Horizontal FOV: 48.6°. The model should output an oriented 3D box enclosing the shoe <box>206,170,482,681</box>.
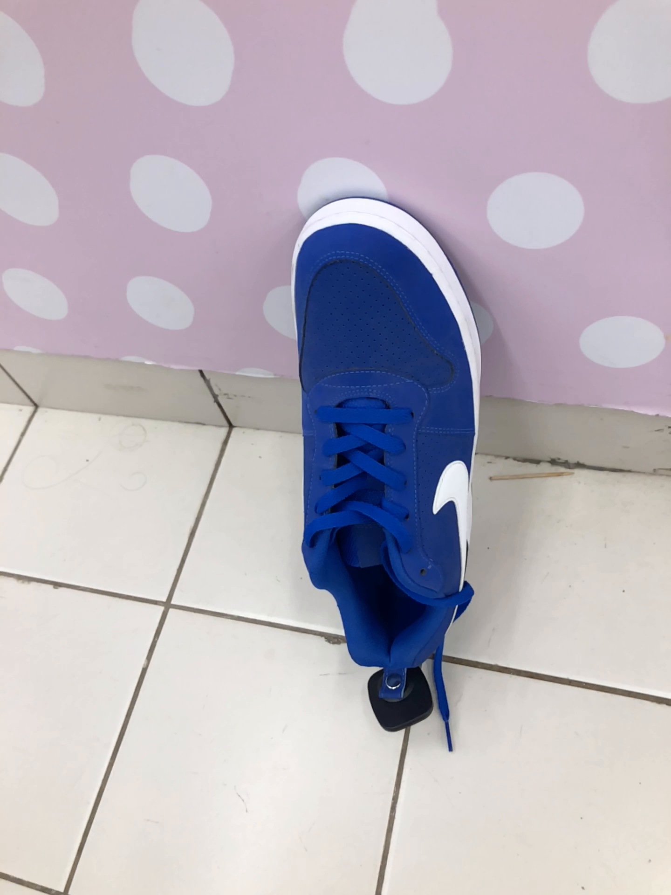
[{"bbox_3d":[0.021,-0.001,0.442,0.110,0.289,0.080,3,32,19],"label":"shoe"}]
